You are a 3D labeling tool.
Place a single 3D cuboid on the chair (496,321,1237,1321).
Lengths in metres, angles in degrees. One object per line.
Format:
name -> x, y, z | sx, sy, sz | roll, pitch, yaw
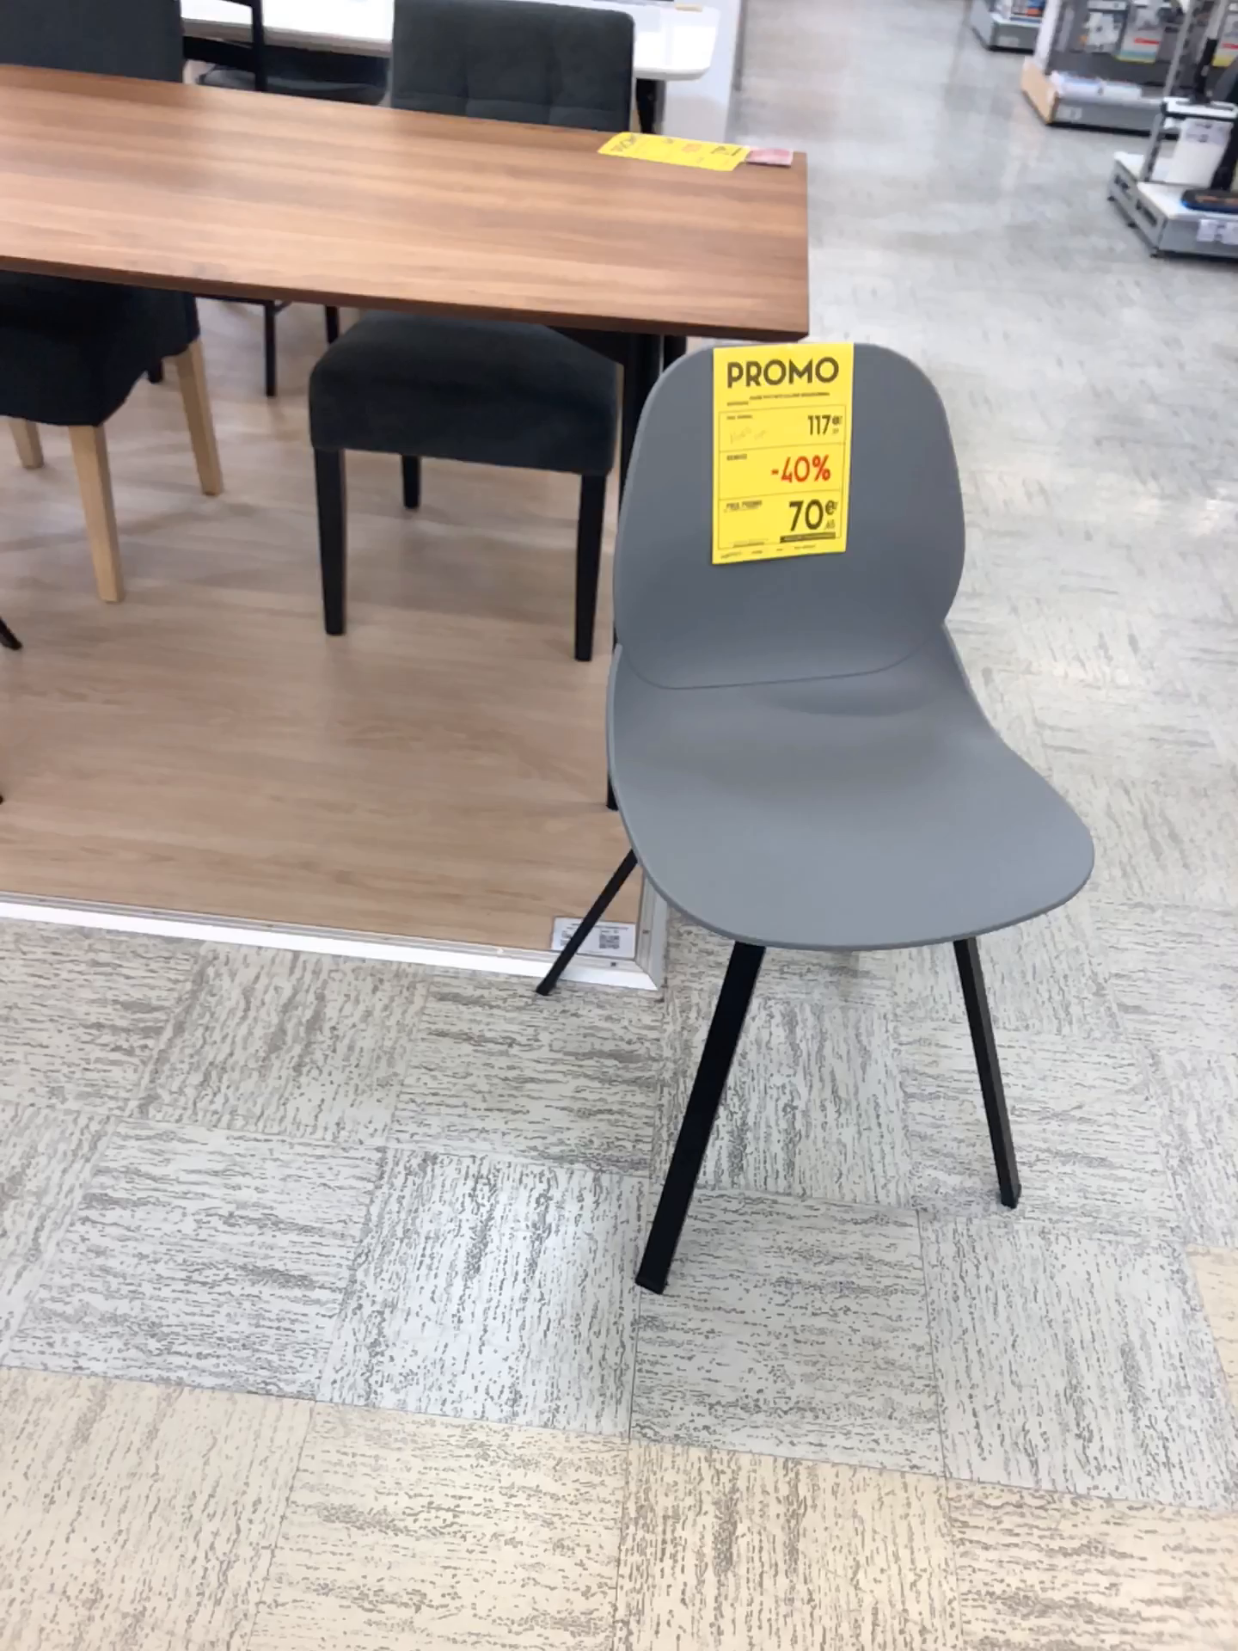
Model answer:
chair -> 0.205, -0.028, 1.383 | 0.511, 0.755, 0.582 | -8, 40, -18
